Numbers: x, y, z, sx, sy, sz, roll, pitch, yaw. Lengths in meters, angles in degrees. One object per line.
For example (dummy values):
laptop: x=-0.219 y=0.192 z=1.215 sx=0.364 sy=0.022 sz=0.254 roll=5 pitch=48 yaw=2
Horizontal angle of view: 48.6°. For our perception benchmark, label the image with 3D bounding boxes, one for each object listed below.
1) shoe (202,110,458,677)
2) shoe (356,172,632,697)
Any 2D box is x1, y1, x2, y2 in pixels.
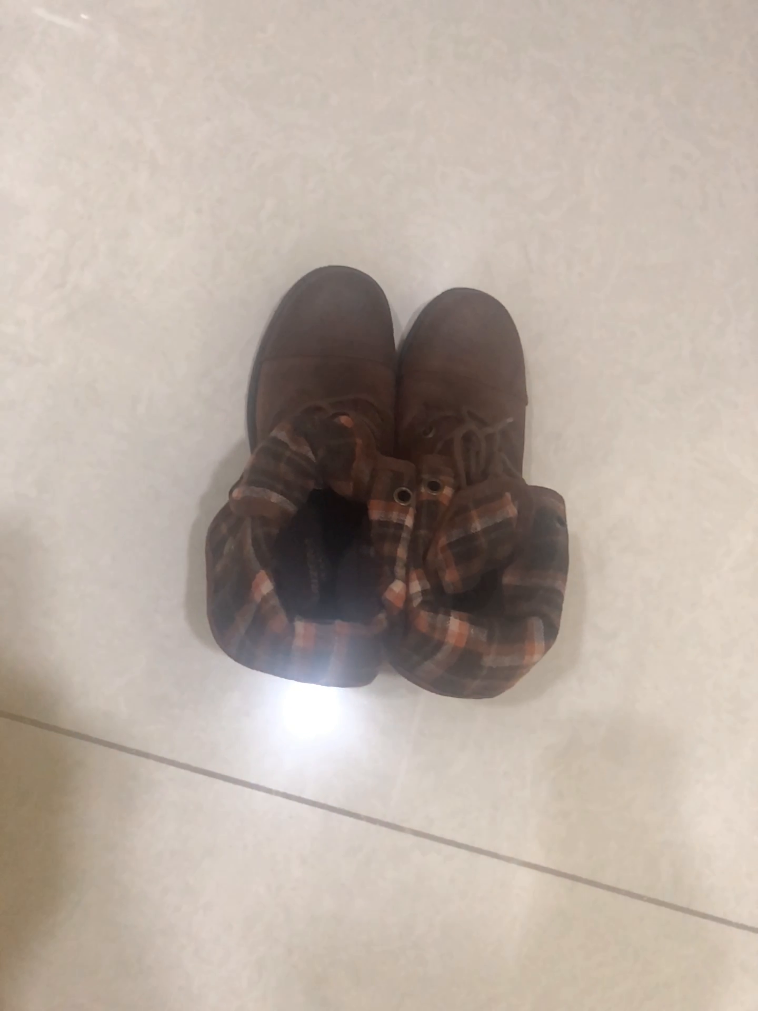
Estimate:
shoe: x=-0.034 y=-0.047 z=0.489 sx=0.110 sy=0.150 sz=0.280 roll=5 pitch=80 yaw=-13
shoe: x=0.064 y=-0.031 z=0.509 sx=0.100 sy=0.140 sz=0.270 roll=9 pitch=79 yaw=-12
